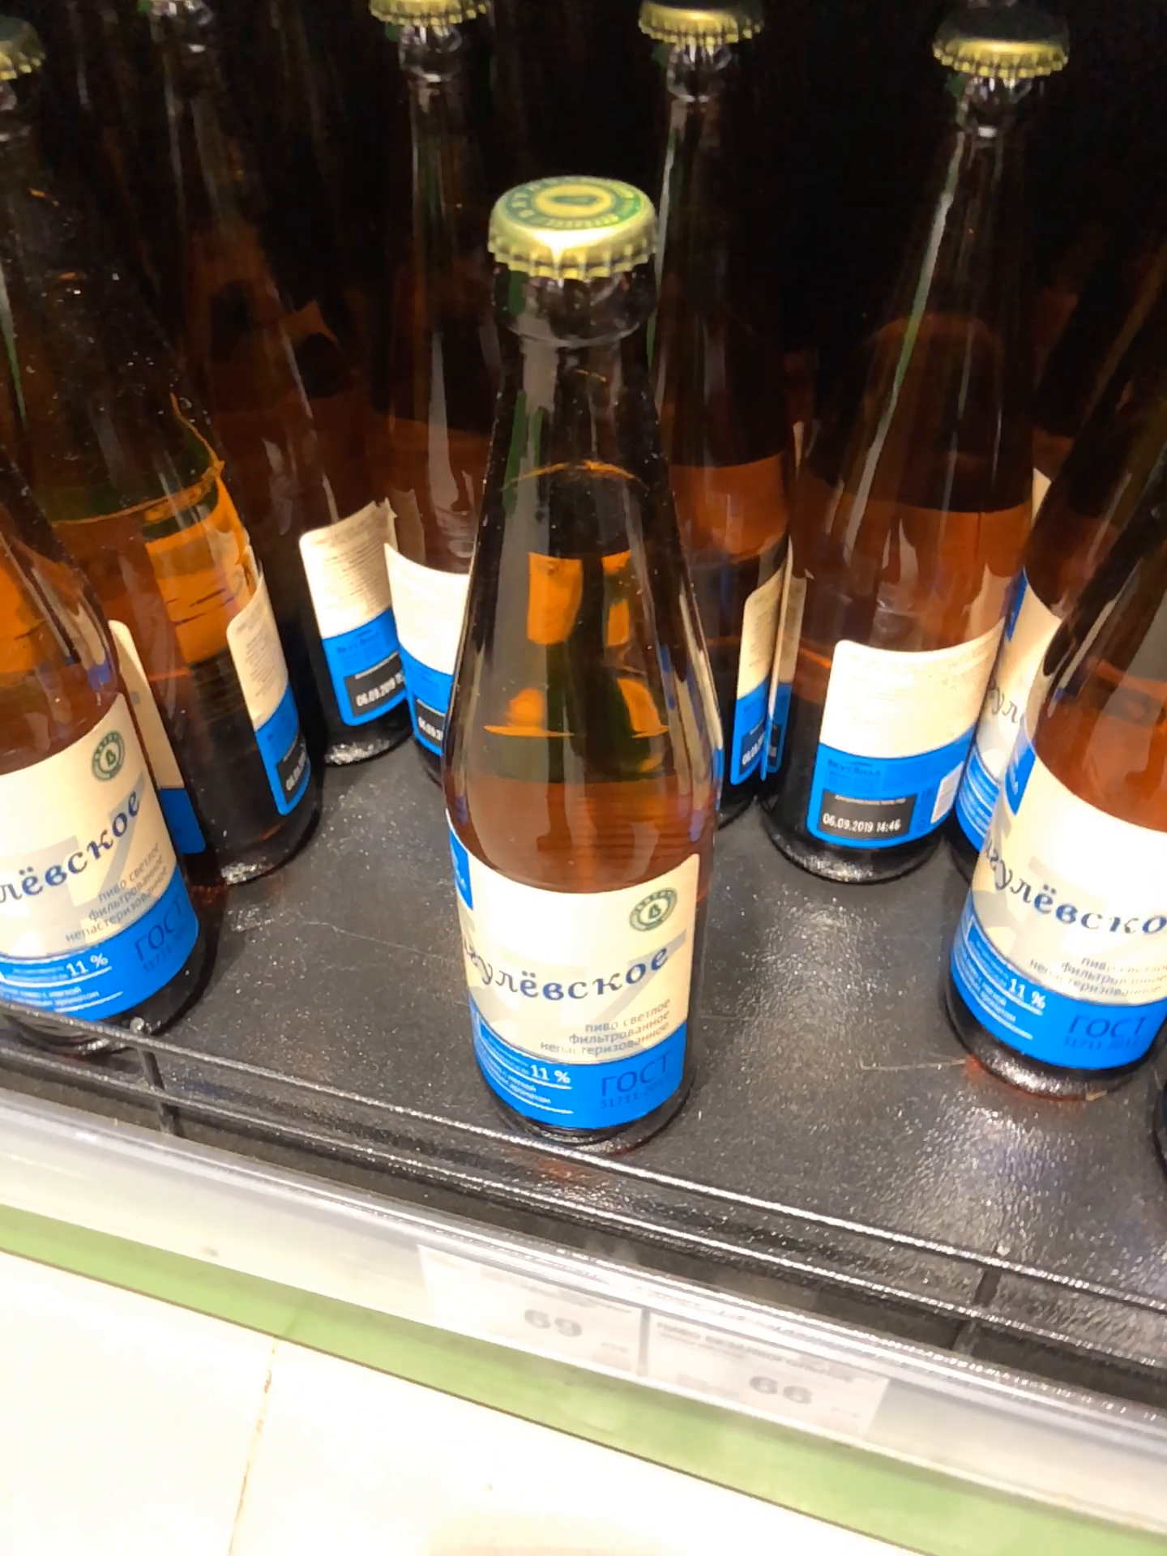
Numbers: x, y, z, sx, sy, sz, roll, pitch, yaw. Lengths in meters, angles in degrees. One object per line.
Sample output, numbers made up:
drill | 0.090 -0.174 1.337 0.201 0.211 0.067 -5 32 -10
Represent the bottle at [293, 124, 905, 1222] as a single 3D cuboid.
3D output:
bottle | 0.005 0.000 0.296 0.070 0.249 0.070 -1 46 1
